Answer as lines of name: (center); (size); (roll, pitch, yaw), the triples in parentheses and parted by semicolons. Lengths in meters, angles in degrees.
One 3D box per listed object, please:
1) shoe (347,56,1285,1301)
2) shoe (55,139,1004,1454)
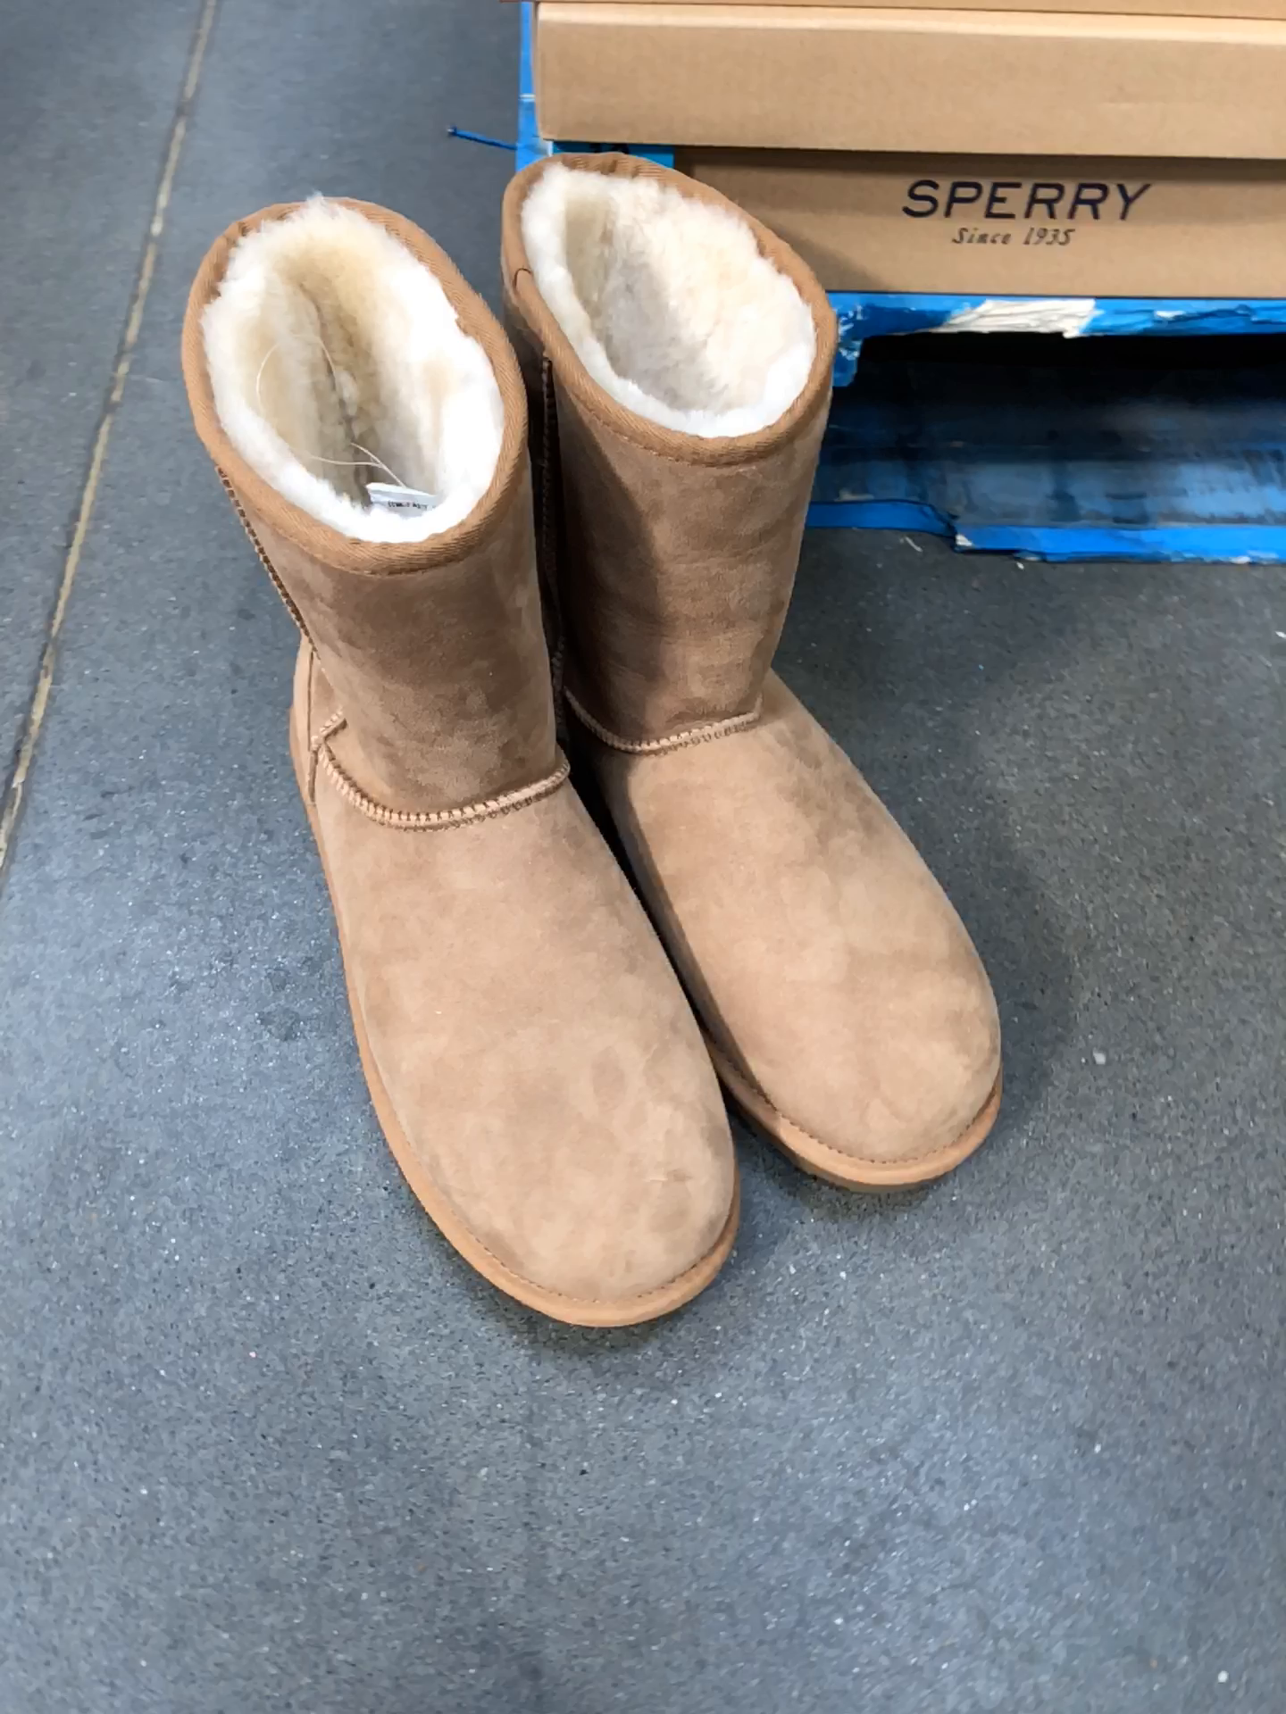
shoe: (0.033, -0.054, 0.488); (0.130, 0.259, 0.310); (-22, 61, -16)
shoe: (-0.053, -0.012, 0.460); (0.130, 0.259, 0.311); (-19, 60, -14)
